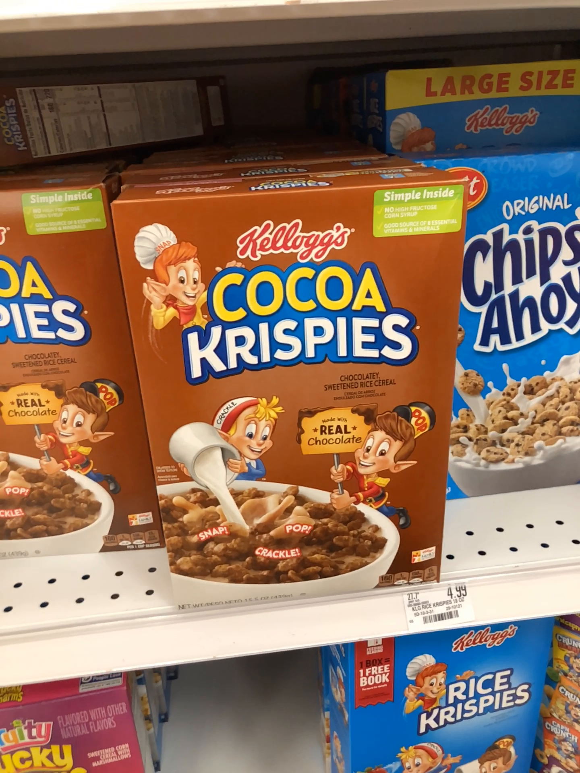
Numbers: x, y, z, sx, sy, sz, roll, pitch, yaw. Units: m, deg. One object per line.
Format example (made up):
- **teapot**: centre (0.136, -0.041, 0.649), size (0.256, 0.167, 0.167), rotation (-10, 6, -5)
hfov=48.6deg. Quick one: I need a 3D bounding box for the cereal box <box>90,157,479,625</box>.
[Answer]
- **cereal box**: centre (0.002, 0.012, 0.423), size (0.200, 0.289, 0.070), rotation (-5, 26, -5)
